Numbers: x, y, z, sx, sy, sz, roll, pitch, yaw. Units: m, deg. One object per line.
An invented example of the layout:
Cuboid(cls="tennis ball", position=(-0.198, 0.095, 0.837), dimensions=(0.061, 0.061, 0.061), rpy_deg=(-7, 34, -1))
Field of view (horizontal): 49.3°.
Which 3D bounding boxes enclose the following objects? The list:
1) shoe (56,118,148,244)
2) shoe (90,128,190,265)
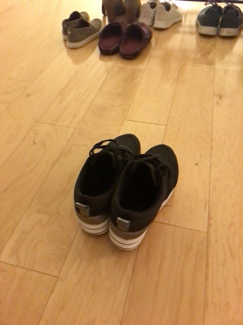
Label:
Cuboid(cls="shoe", position=(-0.026, 0.026, 0.570), dimensions=(0.100, 0.099, 0.252), rpy_deg=(12, 47, 13))
Cuboid(cls="shoe", position=(0.049, 0.054, 0.545), dimensions=(0.110, 0.099, 0.252), rpy_deg=(16, 48, 17))
